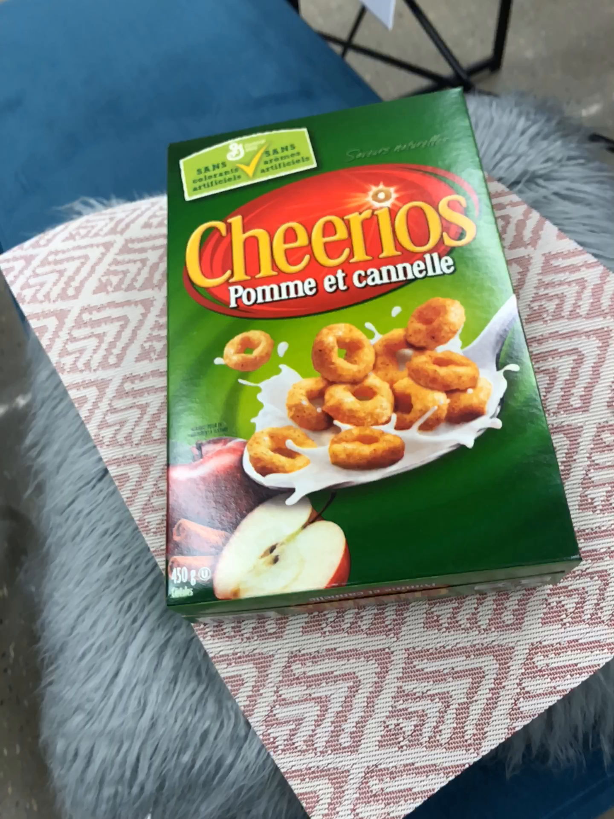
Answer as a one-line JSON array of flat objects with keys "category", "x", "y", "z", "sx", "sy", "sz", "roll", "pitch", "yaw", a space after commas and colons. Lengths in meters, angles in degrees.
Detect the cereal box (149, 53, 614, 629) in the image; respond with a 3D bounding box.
[{"category": "cereal box", "x": 0.024, "y": -0.050, "z": 0.396, "sx": 0.210, "sy": 0.070, "sz": 0.311, "roll": -7, "pitch": 67, "yaw": 2}]
